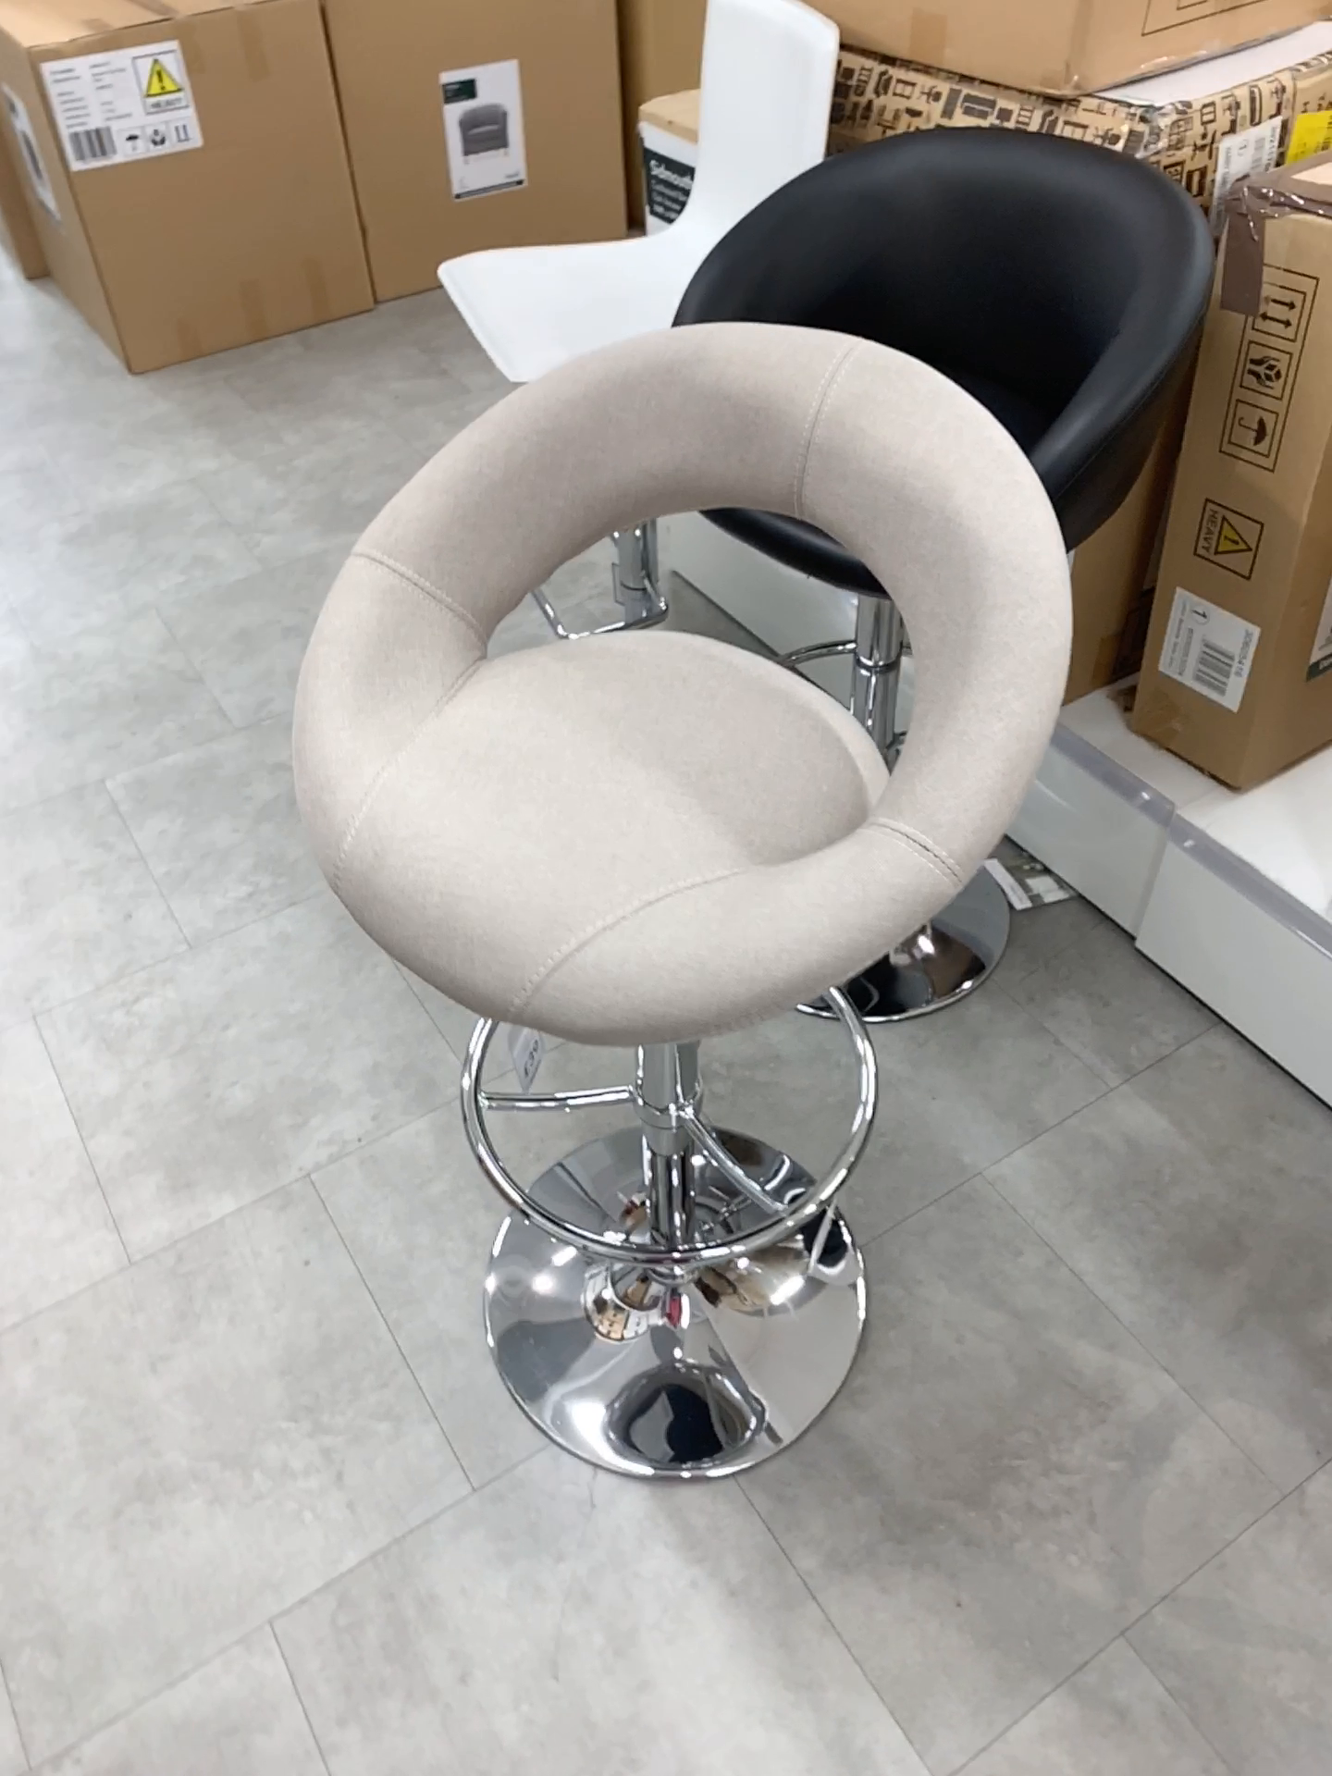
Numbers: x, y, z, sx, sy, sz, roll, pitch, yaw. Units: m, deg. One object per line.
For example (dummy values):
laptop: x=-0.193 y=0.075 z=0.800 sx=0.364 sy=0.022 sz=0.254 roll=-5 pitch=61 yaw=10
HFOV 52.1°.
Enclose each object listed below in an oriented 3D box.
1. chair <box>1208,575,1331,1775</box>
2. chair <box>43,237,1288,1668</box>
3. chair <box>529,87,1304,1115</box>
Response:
chair: x=0.849 y=0.359 z=0.891 sx=0.543 sy=0.864 sz=0.520 roll=-16 pitch=46 yaw=-13
chair: x=0.000 y=0.090 z=1.146 sx=0.485 sy=0.963 sz=0.569 roll=-35 pitch=53 yaw=-28
chair: x=0.237 y=-0.306 z=1.584 sx=0.485 sy=0.933 sz=0.519 roll=-32 pitch=51 yaw=-26
